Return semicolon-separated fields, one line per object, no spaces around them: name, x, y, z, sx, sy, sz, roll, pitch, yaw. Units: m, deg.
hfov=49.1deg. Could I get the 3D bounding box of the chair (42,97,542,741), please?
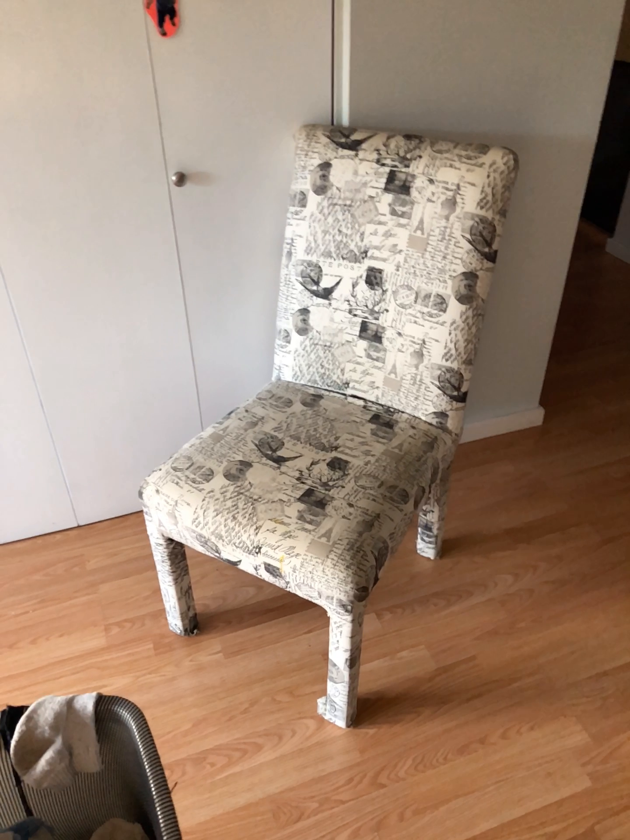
chair;0.012;-0.024;1.398;0.521;0.997;0.671;19;41;25
